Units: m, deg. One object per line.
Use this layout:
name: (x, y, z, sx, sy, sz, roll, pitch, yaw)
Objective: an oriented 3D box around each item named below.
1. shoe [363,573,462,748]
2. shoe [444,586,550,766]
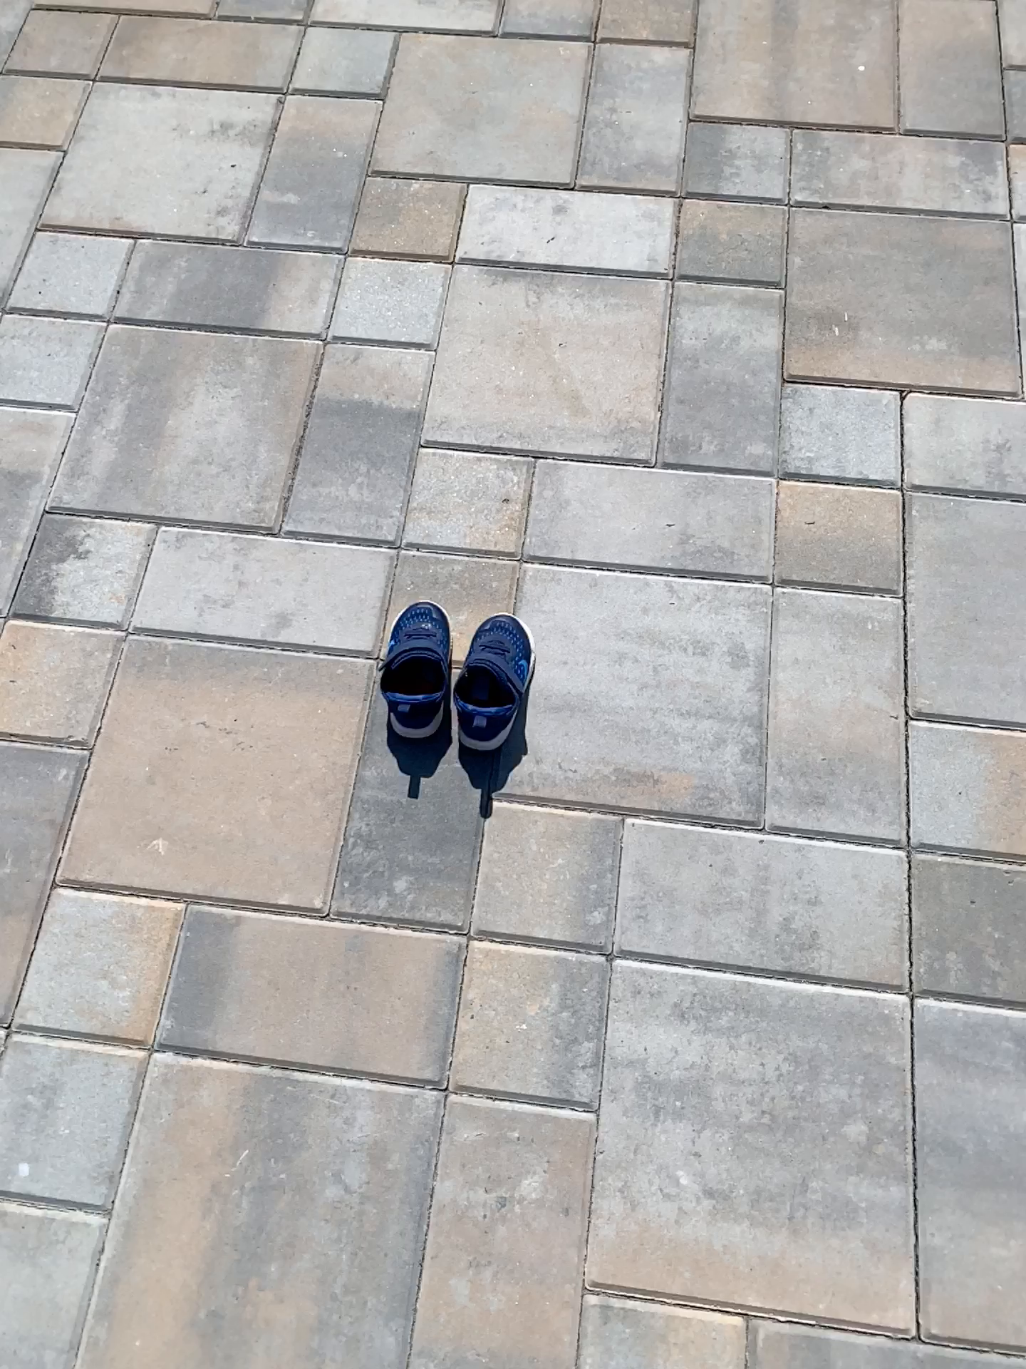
shoe: (-0.108, -0.025, 1.156, 0.090, 0.090, 0.170, 1, 68, 2)
shoe: (-0.015, -0.009, 1.172, 0.090, 0.090, 0.170, 7, 68, 4)
